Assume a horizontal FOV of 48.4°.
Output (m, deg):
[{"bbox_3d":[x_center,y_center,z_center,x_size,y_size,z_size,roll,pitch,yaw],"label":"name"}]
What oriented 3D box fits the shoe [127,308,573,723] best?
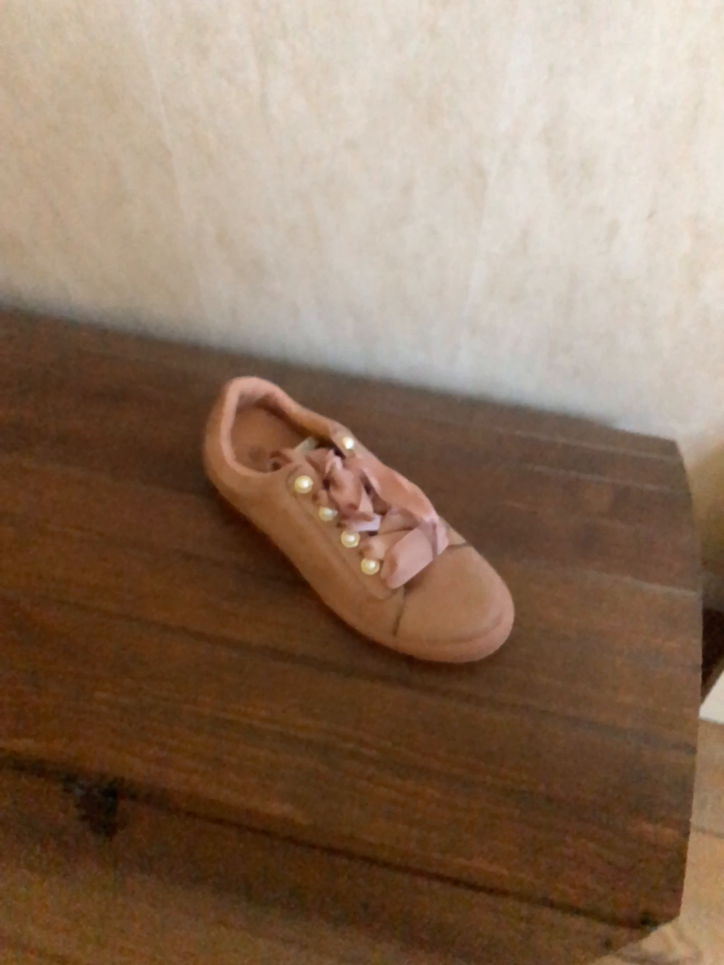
[{"bbox_3d":[-0.015,0.014,0.545,0.280,0.090,0.110,38,65,20],"label":"shoe"}]
